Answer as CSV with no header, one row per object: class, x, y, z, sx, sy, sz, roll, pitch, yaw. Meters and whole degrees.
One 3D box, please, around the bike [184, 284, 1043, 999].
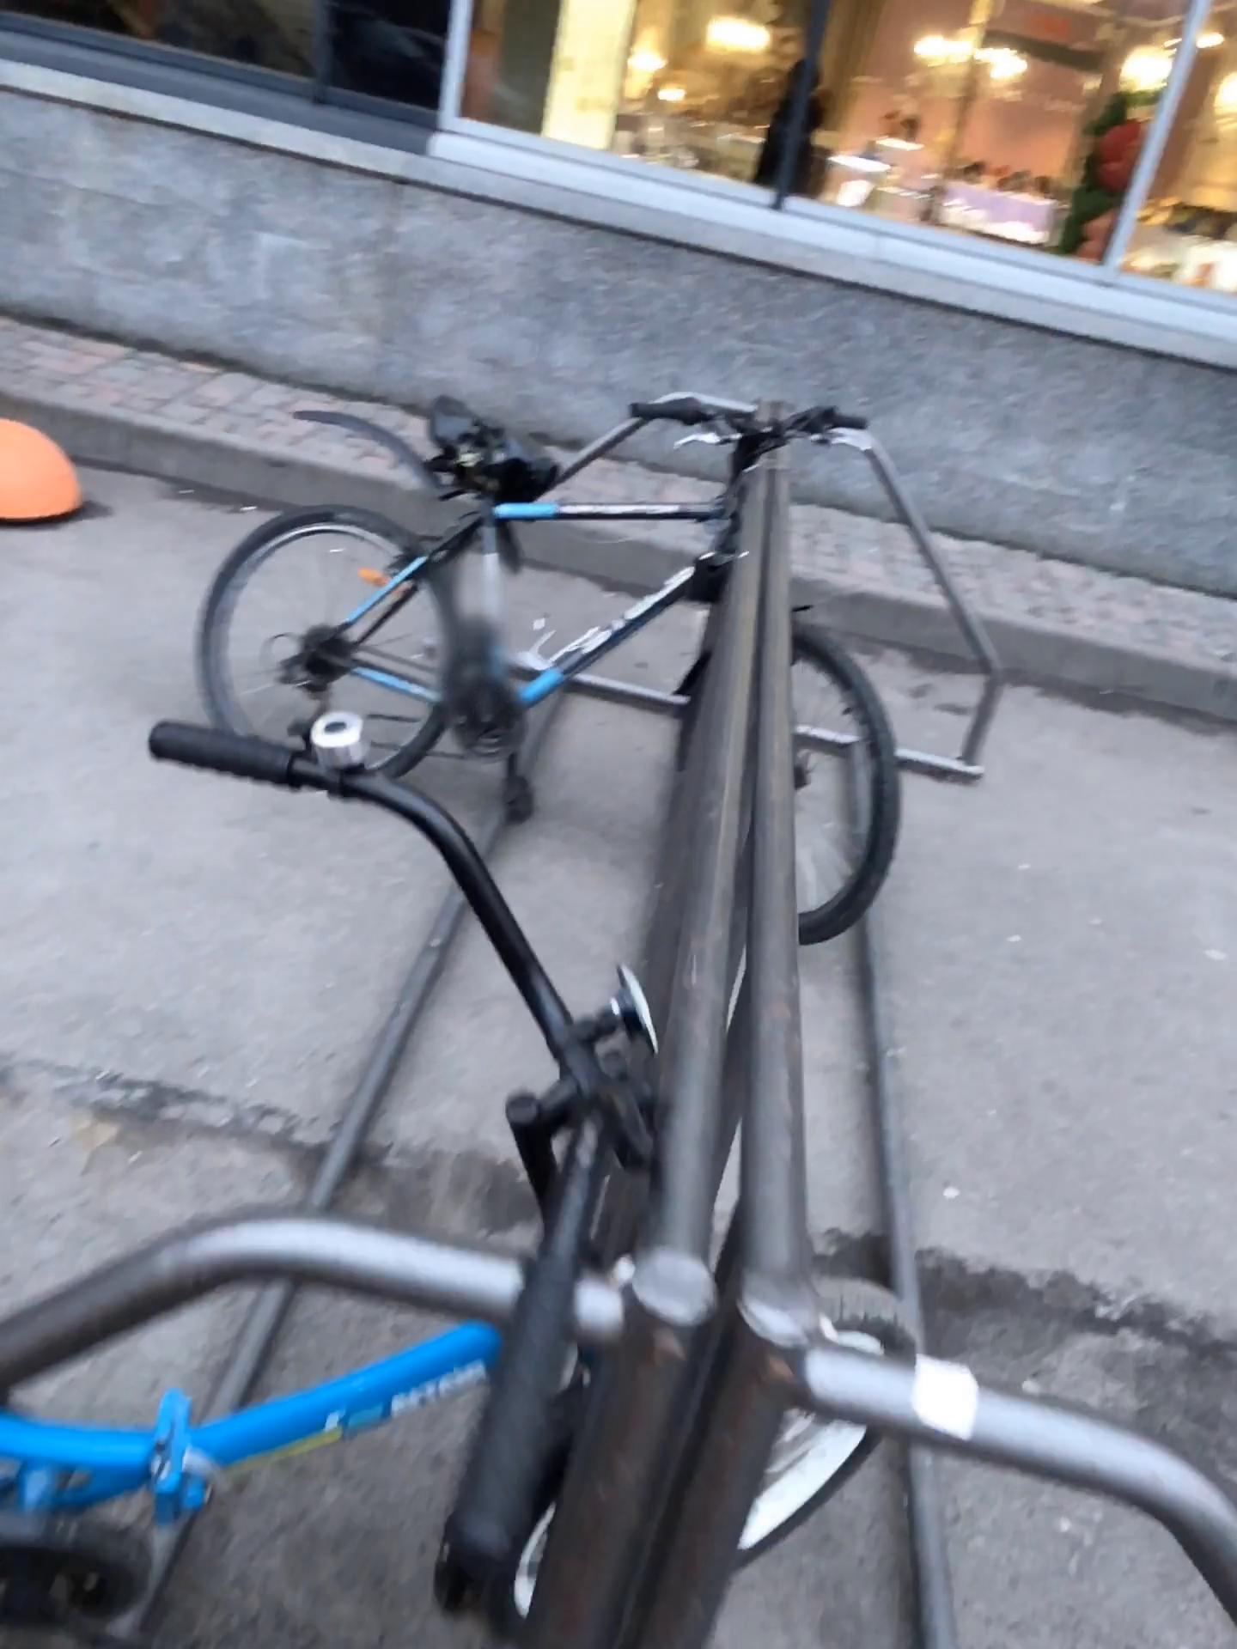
bike,-0.111,-0.464,2.818,1.584,1.051,0.537,20,27,22
